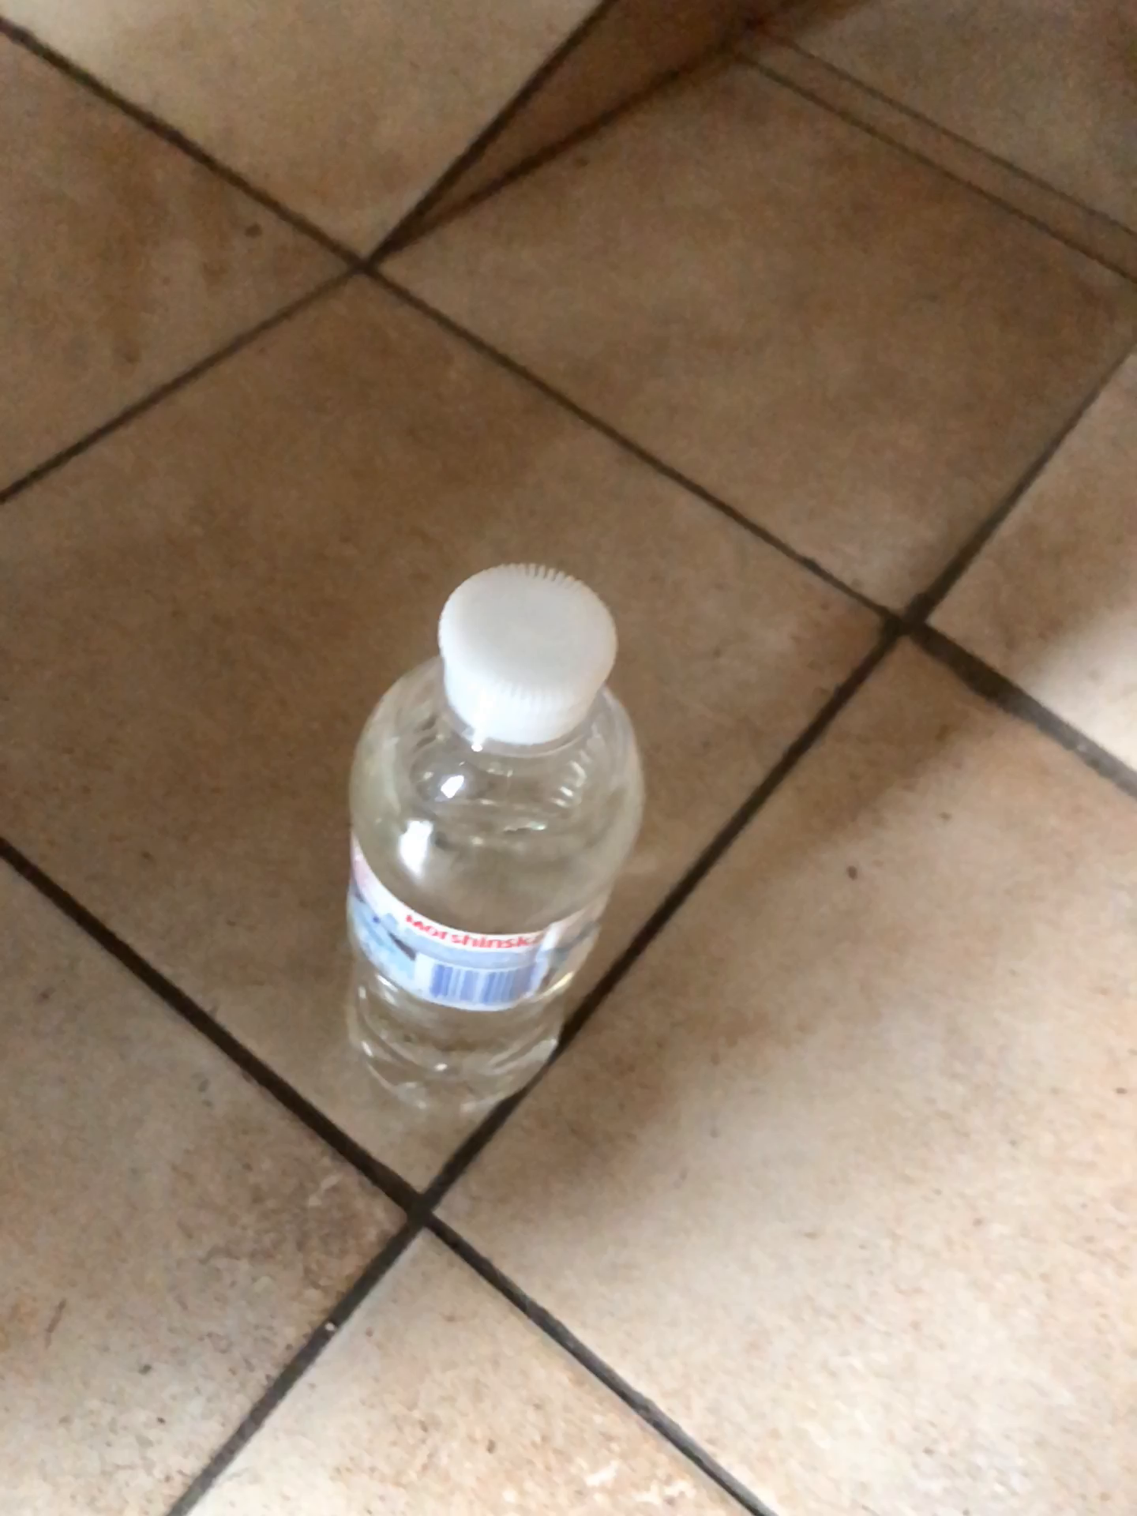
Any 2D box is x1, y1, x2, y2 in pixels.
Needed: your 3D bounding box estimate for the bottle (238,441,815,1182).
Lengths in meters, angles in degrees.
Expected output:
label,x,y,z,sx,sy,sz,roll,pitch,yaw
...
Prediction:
label,x,y,z,sx,sy,sz,roll,pitch,yaw
bottle,-0.021,0.030,0.324,0.080,0.199,0.080,4,59,-7
